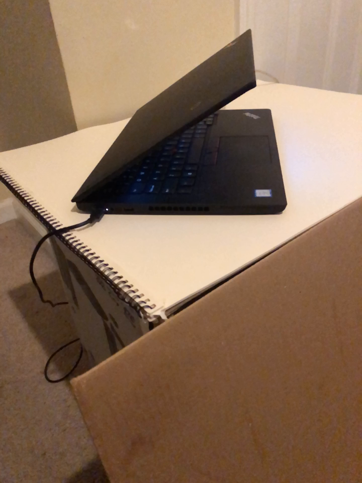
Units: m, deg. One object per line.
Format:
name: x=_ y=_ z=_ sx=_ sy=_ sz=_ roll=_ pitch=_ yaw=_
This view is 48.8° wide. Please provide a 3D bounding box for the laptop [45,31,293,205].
laptop: x=0.010 y=-0.178 z=0.518 sx=0.226 sy=0.115 sz=0.319 roll=1 pitch=35 yaw=9
